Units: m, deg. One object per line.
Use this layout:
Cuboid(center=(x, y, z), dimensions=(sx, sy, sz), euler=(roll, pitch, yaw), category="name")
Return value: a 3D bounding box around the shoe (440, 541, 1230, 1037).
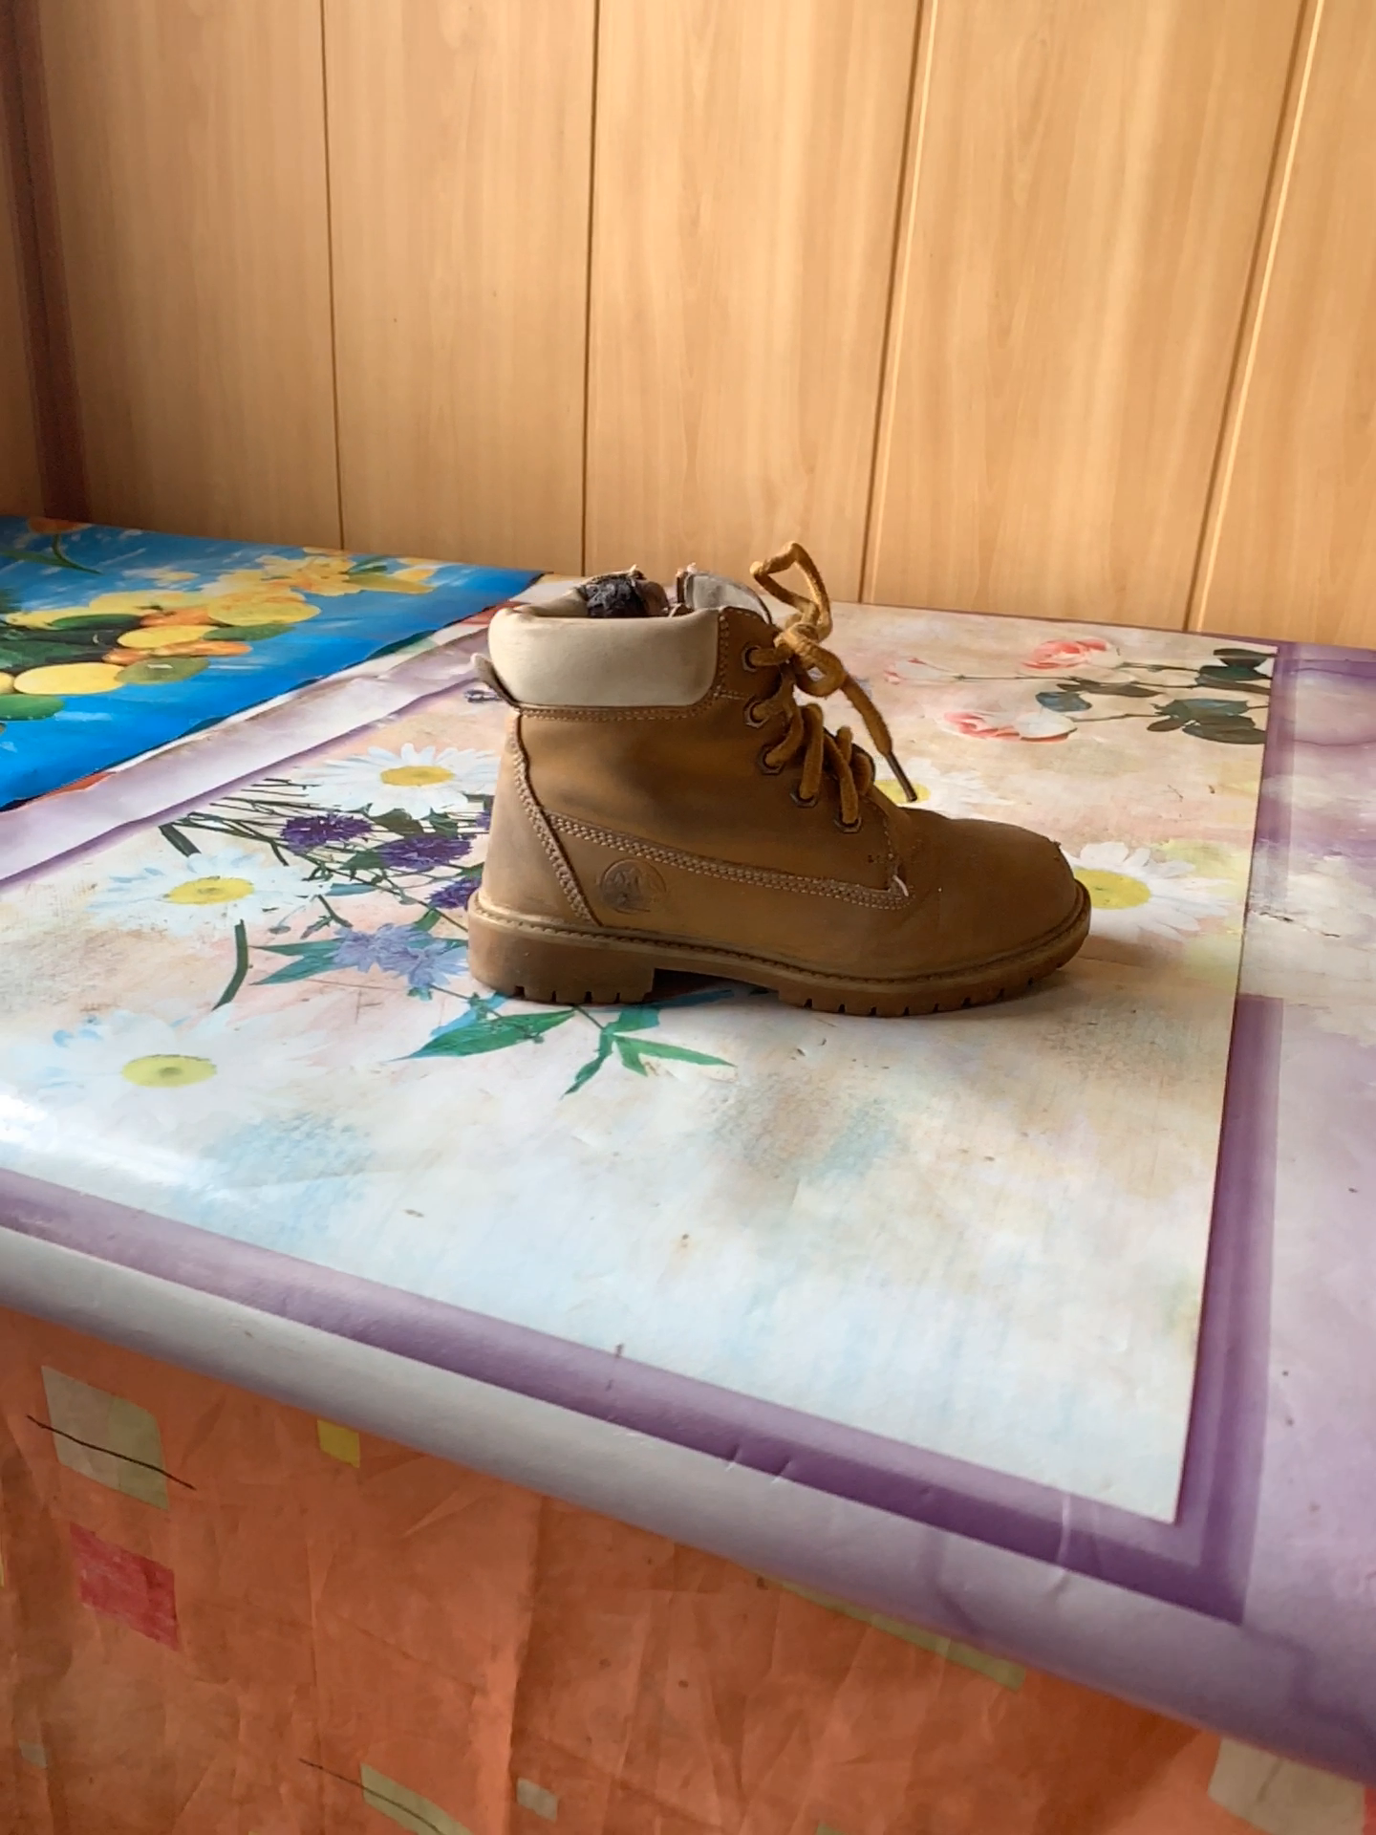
Cuboid(center=(0.038, -0.044, 0.457), dimensions=(0.220, 0.129, 0.091), euler=(2, 23, -2), category="shoe")
